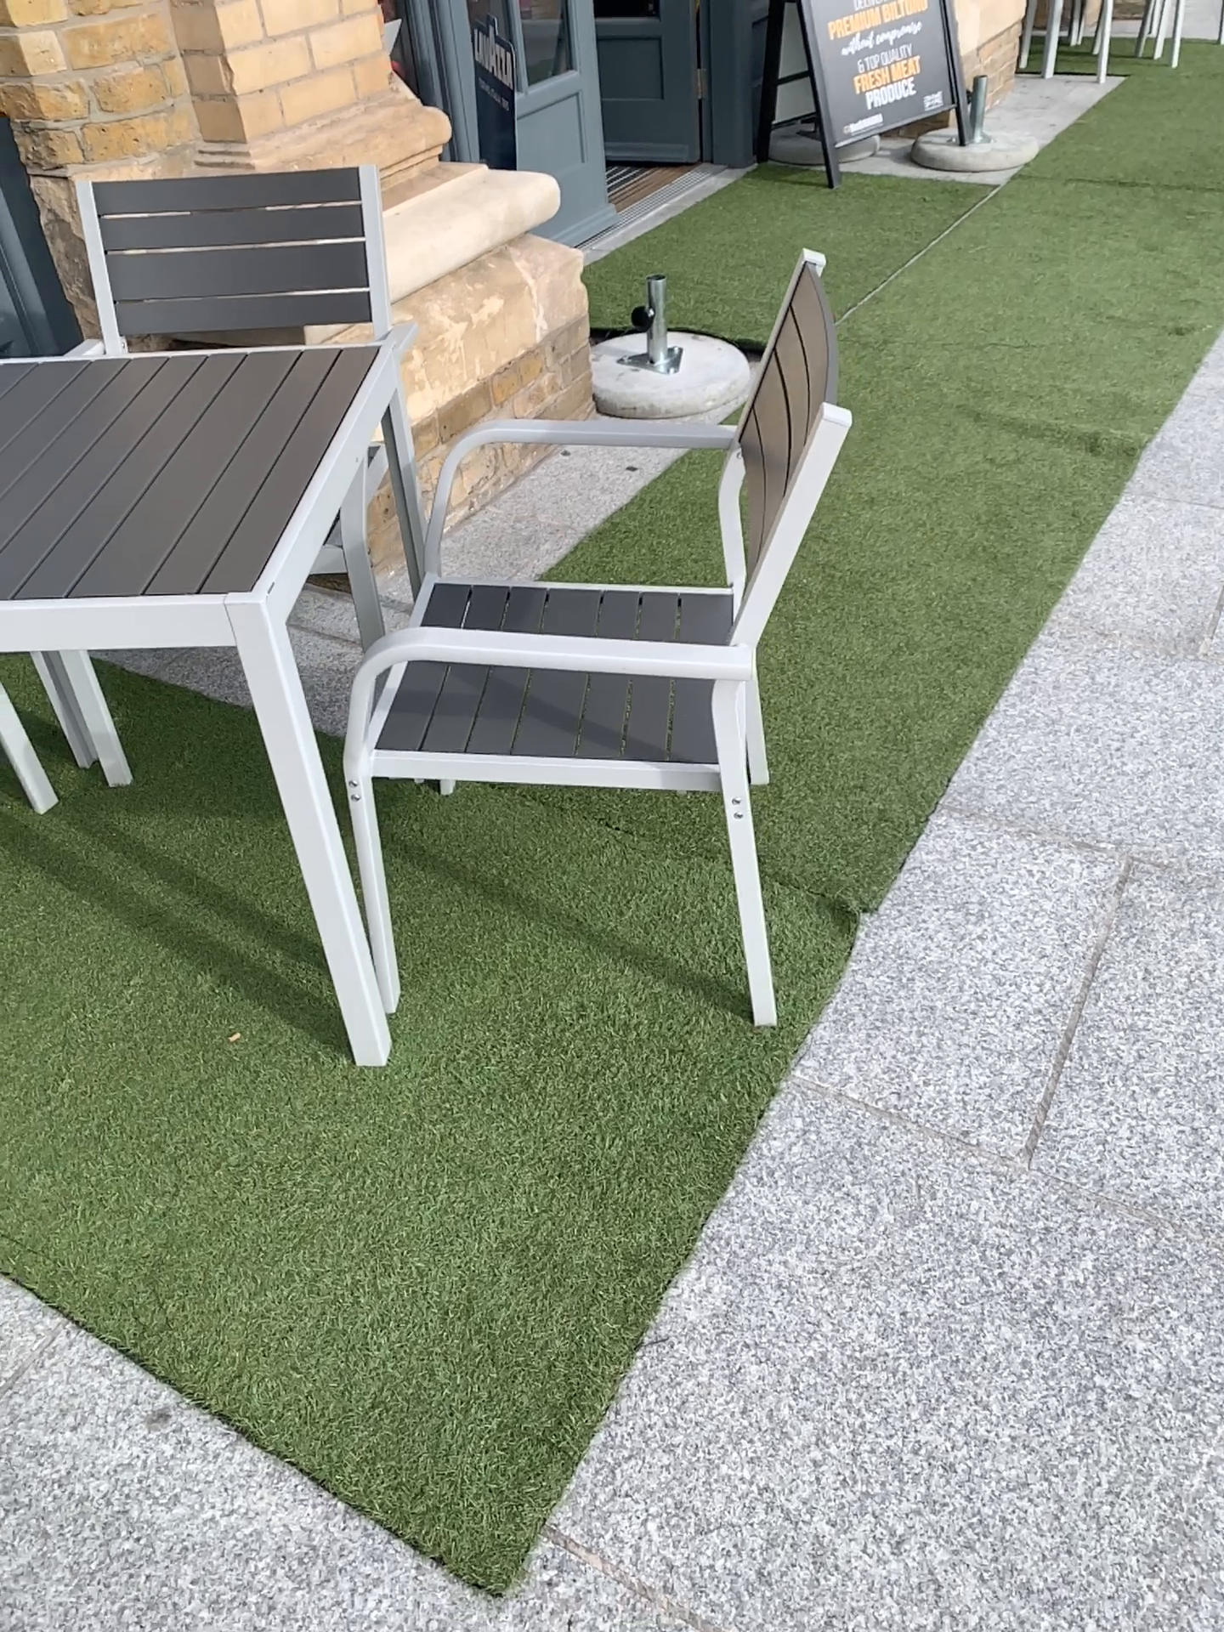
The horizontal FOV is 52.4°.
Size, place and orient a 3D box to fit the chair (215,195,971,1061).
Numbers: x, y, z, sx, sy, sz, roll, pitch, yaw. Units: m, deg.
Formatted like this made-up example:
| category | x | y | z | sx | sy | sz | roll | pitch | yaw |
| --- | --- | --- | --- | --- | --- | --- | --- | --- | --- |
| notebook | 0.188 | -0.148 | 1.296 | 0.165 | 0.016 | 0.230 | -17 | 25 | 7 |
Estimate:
| category | x | y | z | sx | sy | sz | roll | pitch | yaw |
| --- | --- | --- | --- | --- | --- | --- | --- | --- | --- |
| chair | 0.013 | -0.235 | 1.576 | 0.645 | 0.801 | 0.688 | -3 | 40 | 3 |
